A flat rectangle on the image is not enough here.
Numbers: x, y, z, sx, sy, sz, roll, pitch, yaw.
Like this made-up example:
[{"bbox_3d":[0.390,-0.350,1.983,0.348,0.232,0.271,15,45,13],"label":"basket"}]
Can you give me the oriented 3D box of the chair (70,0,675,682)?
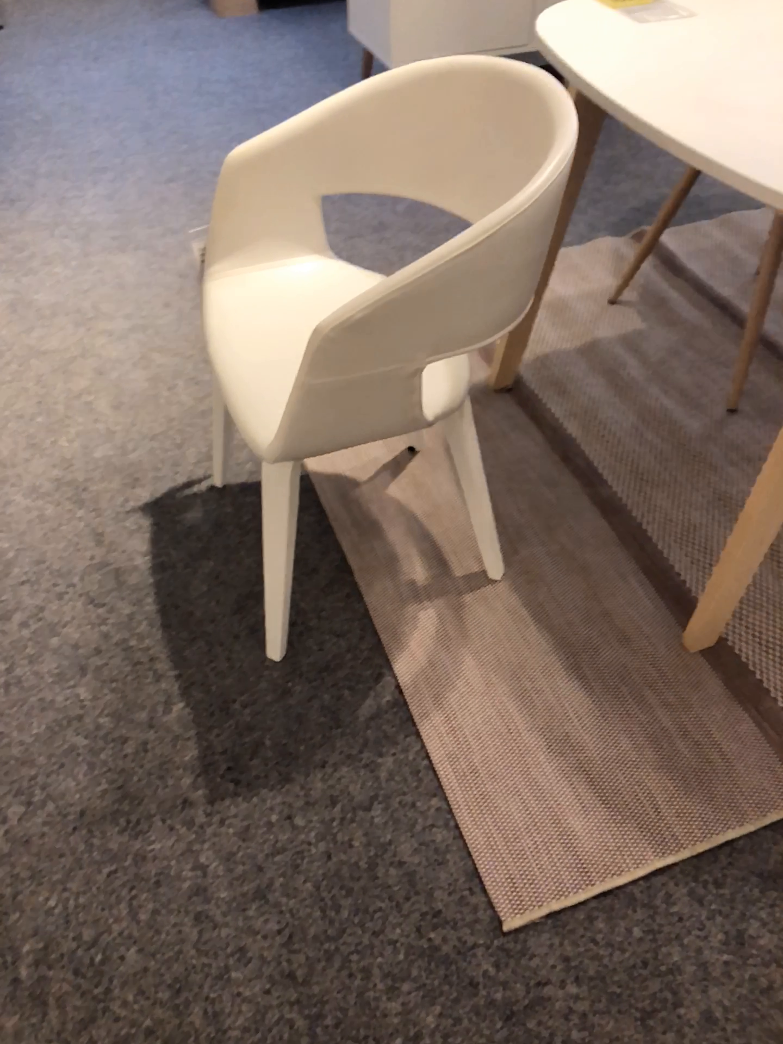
[{"bbox_3d":[-0.063,-0.275,1.287,0.561,0.756,0.552,-15,49,-15],"label":"chair"}]
